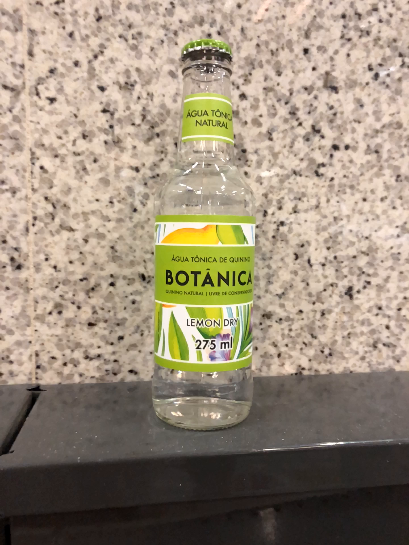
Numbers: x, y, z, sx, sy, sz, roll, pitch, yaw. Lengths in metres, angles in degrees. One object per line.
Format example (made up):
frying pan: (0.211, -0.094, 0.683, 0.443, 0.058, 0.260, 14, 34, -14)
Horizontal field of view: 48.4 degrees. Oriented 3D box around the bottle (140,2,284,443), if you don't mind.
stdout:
bottle: (-0.001, -0.022, 0.254, 0.060, 0.209, 0.060, 2, 7, 0)
